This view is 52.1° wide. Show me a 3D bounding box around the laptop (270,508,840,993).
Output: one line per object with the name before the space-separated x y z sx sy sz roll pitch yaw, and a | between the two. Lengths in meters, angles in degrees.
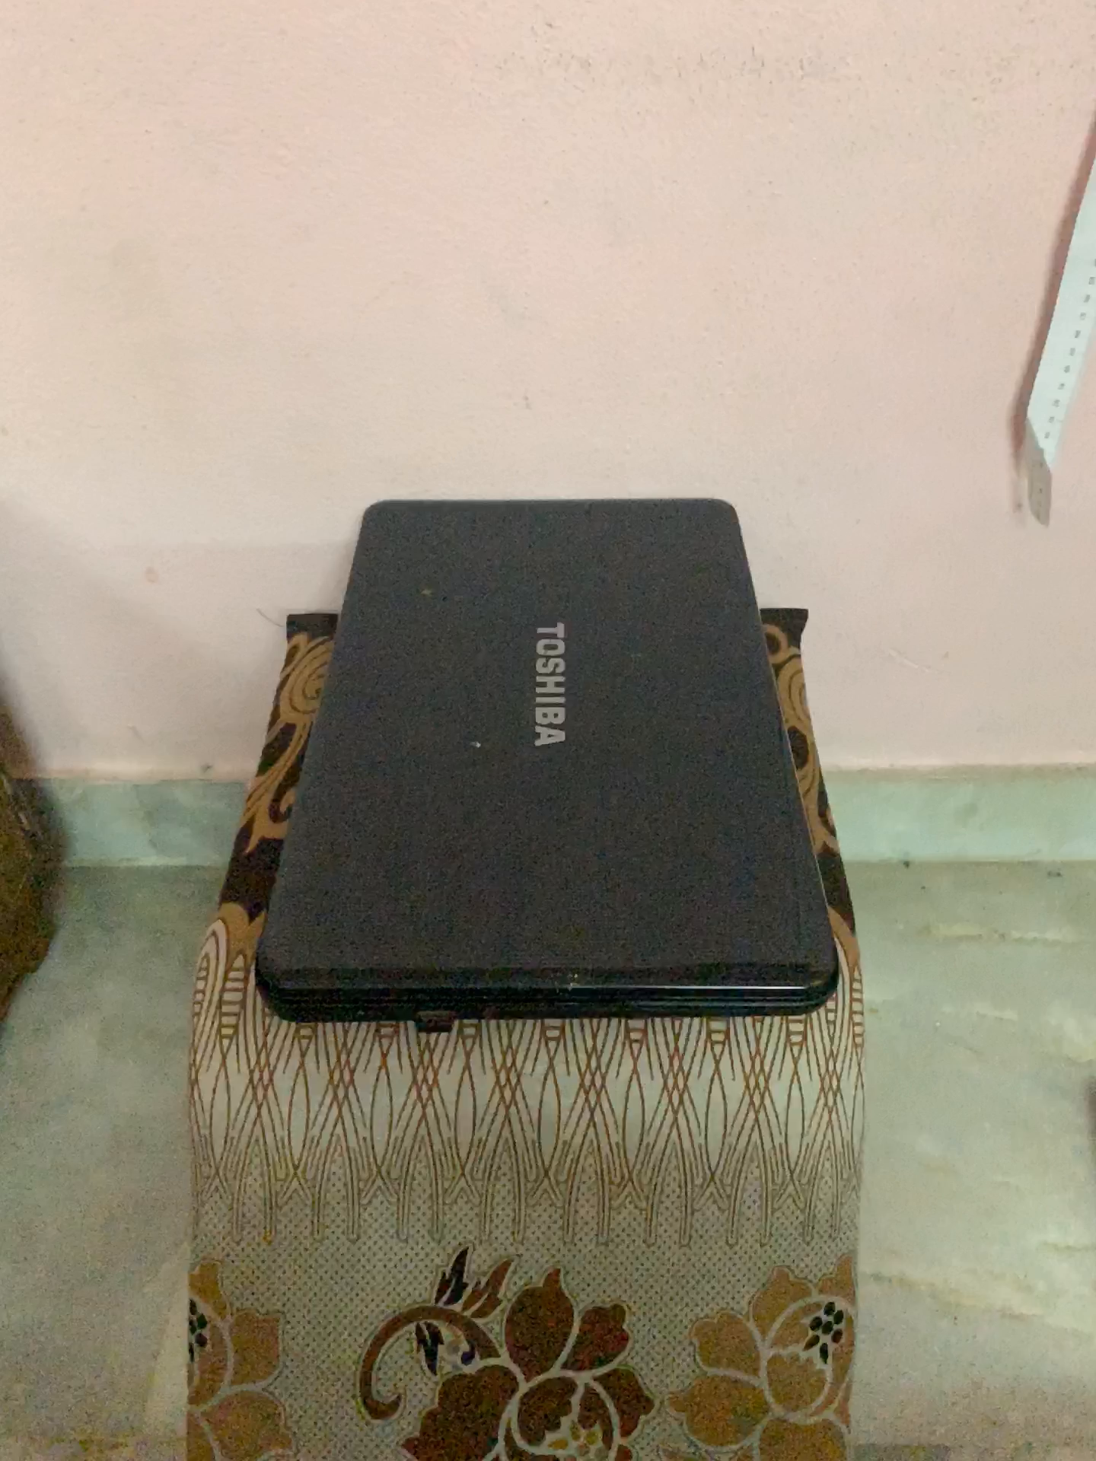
laptop | 0.000 -0.020 0.578 0.222 0.001 0.372 -1 41 1
